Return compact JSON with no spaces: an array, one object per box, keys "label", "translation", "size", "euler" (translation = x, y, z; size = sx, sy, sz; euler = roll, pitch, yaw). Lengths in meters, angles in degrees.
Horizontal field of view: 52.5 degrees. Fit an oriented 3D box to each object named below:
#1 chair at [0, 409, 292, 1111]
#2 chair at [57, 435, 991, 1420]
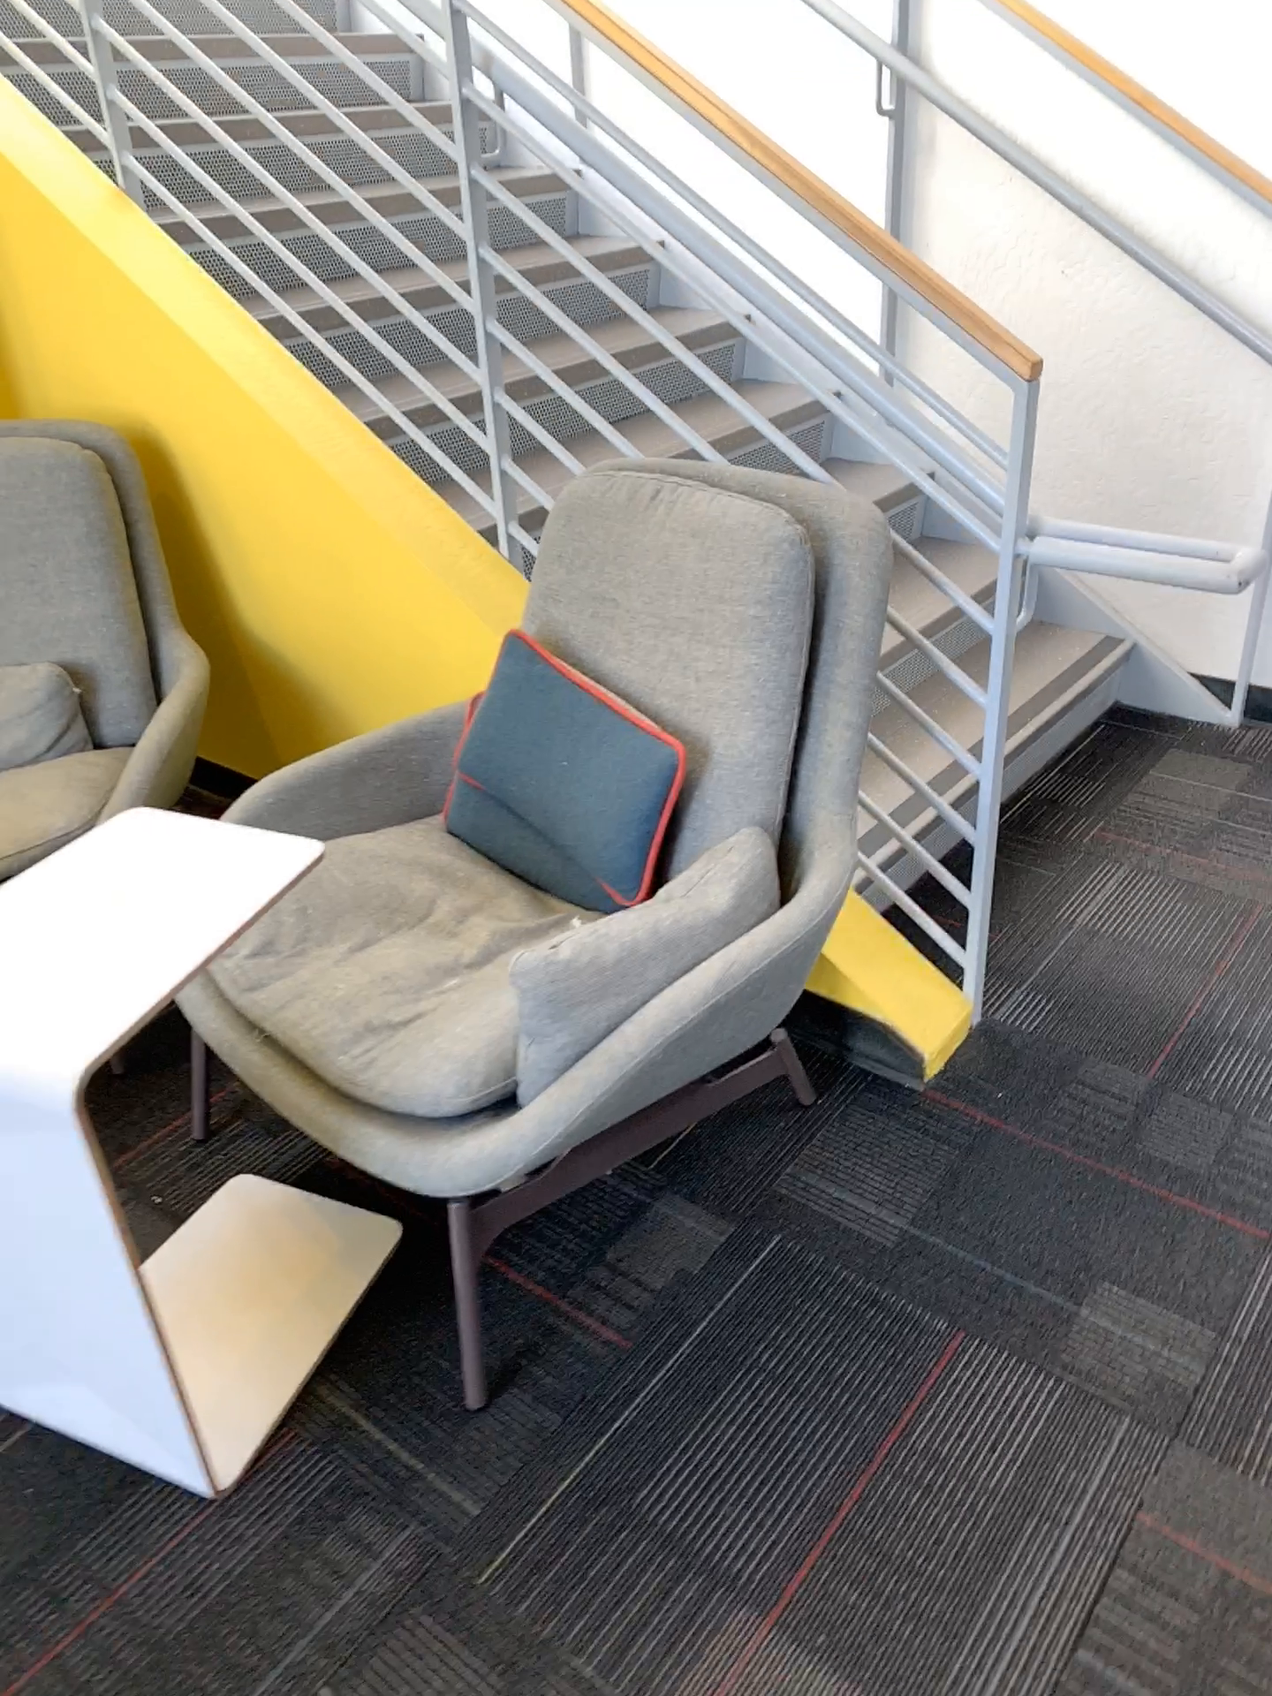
[{"label":"chair","translation":[-1.281,-0.212,2.477],"size":[0.890,1.015,0.845],"euler":[-5,27,-1]},{"label":"chair","translation":[-0.152,-0.012,1.903],"size":[0.880,0.945,0.875],"euler":[-22,33,-34]}]
